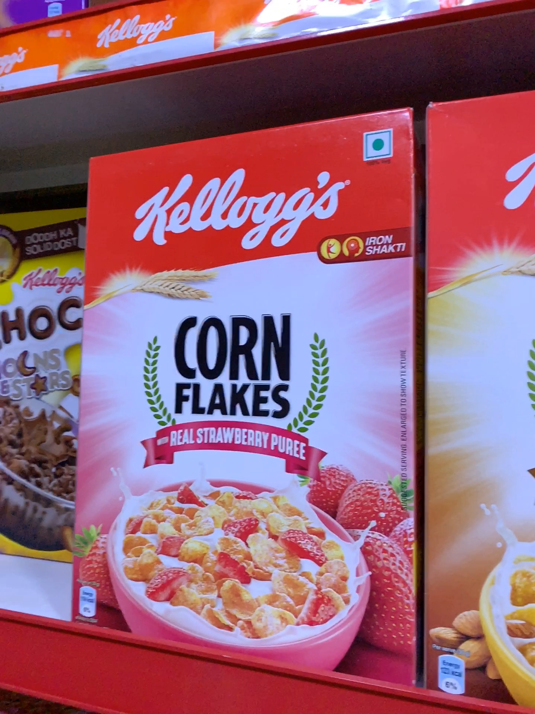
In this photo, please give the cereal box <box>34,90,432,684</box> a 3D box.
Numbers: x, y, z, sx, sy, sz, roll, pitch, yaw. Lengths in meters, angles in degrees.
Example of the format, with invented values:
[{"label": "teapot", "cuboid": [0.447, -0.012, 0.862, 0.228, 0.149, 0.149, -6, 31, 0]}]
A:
[{"label": "cereal box", "cuboid": [-0.017, 0.008, 0.288, 0.190, 0.240, 0.060, 0, -4, 21]}]
